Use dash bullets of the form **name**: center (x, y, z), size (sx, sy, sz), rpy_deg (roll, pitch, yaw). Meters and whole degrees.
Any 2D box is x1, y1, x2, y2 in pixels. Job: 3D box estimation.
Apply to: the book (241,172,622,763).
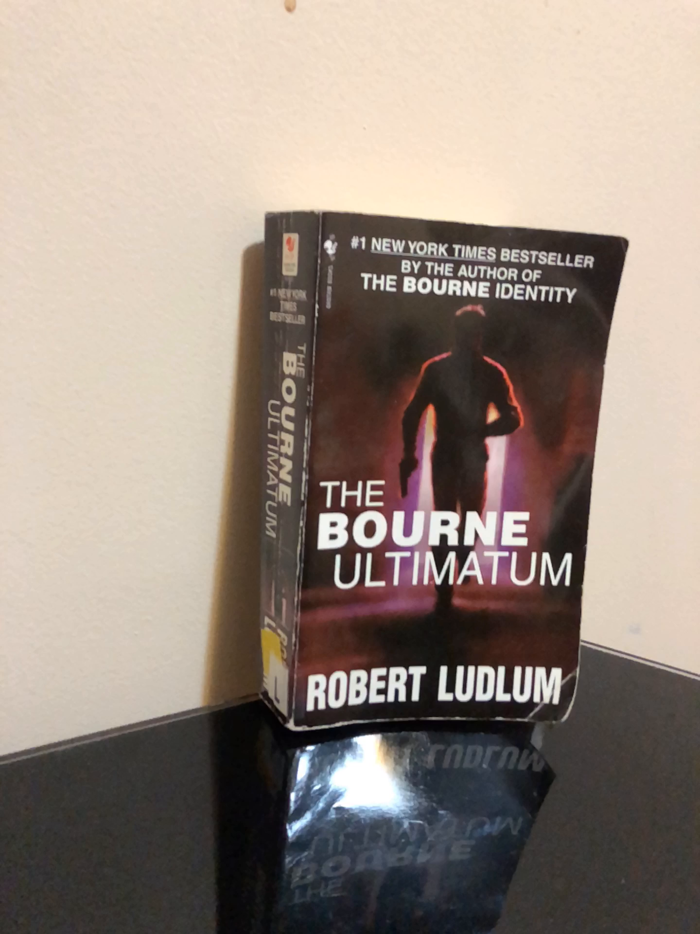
- **book**: center (0.025, -0.003, 0.298), size (0.120, 0.190, 0.070), rpy_deg (-3, 10, -19)
